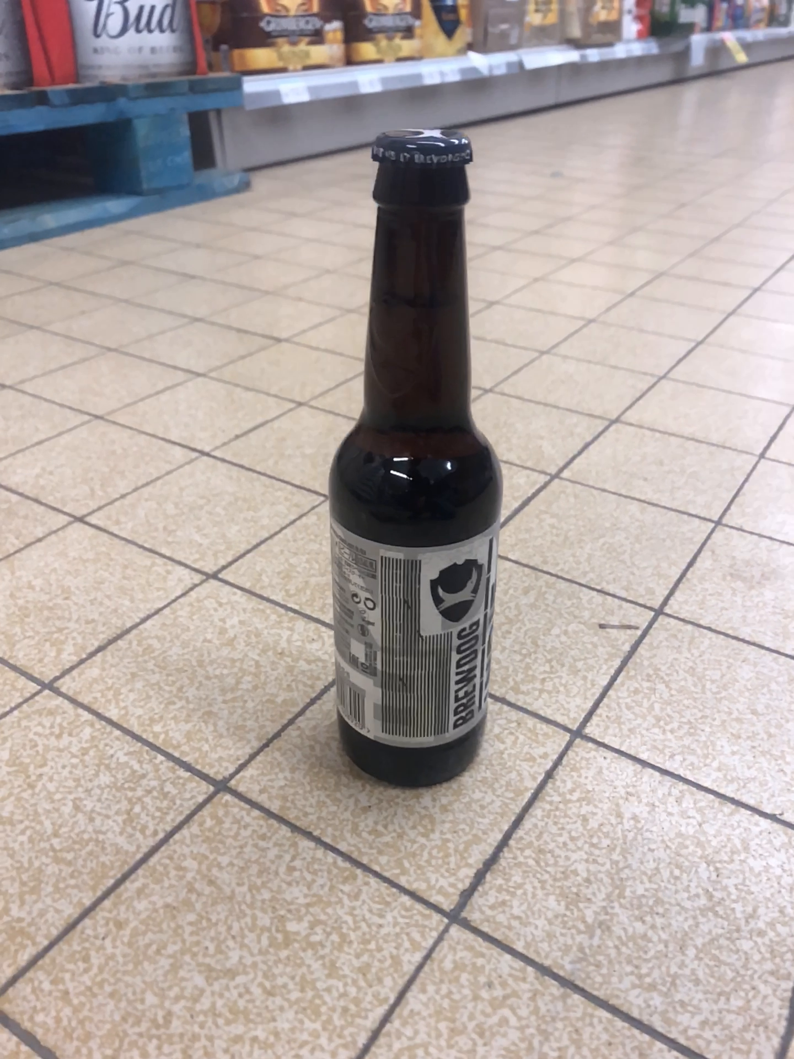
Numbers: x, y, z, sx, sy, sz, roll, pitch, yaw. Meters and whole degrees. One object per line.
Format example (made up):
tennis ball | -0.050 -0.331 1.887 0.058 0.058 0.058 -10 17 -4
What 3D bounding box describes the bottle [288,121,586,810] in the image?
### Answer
bottle | 0.014 -0.015 0.304 0.070 0.222 0.070 0 30 0
